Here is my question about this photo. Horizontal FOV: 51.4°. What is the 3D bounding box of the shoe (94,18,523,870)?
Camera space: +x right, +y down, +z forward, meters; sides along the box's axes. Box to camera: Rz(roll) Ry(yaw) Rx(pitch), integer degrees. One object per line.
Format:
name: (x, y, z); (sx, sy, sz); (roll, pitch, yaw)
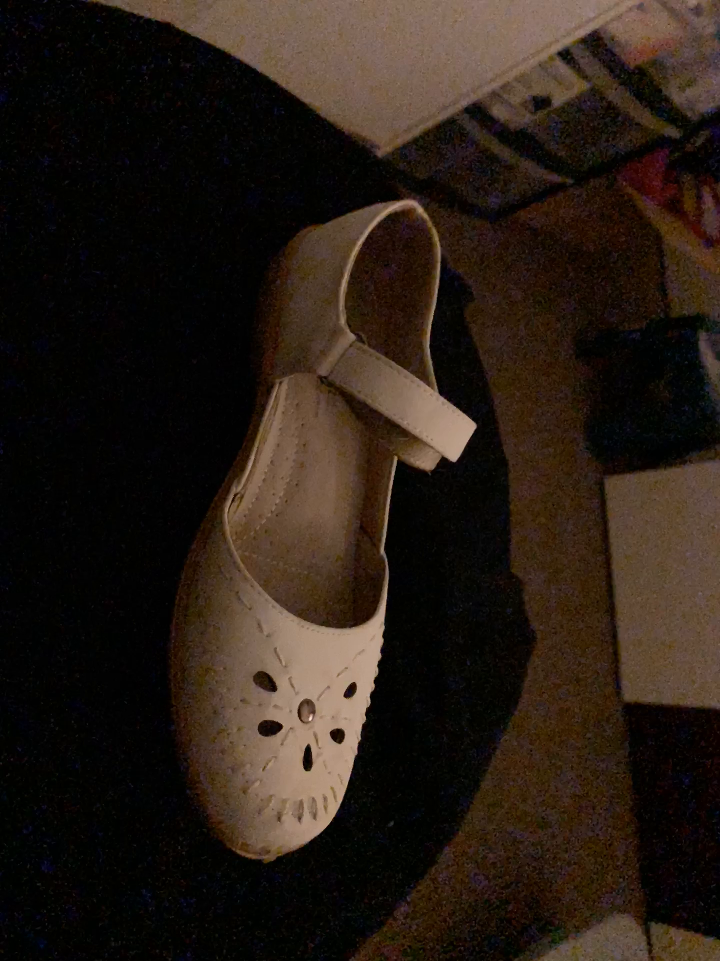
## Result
shoe: (-0.010, -0.013, 0.291); (0.098, 0.099, 0.271); (20, 68, -41)
